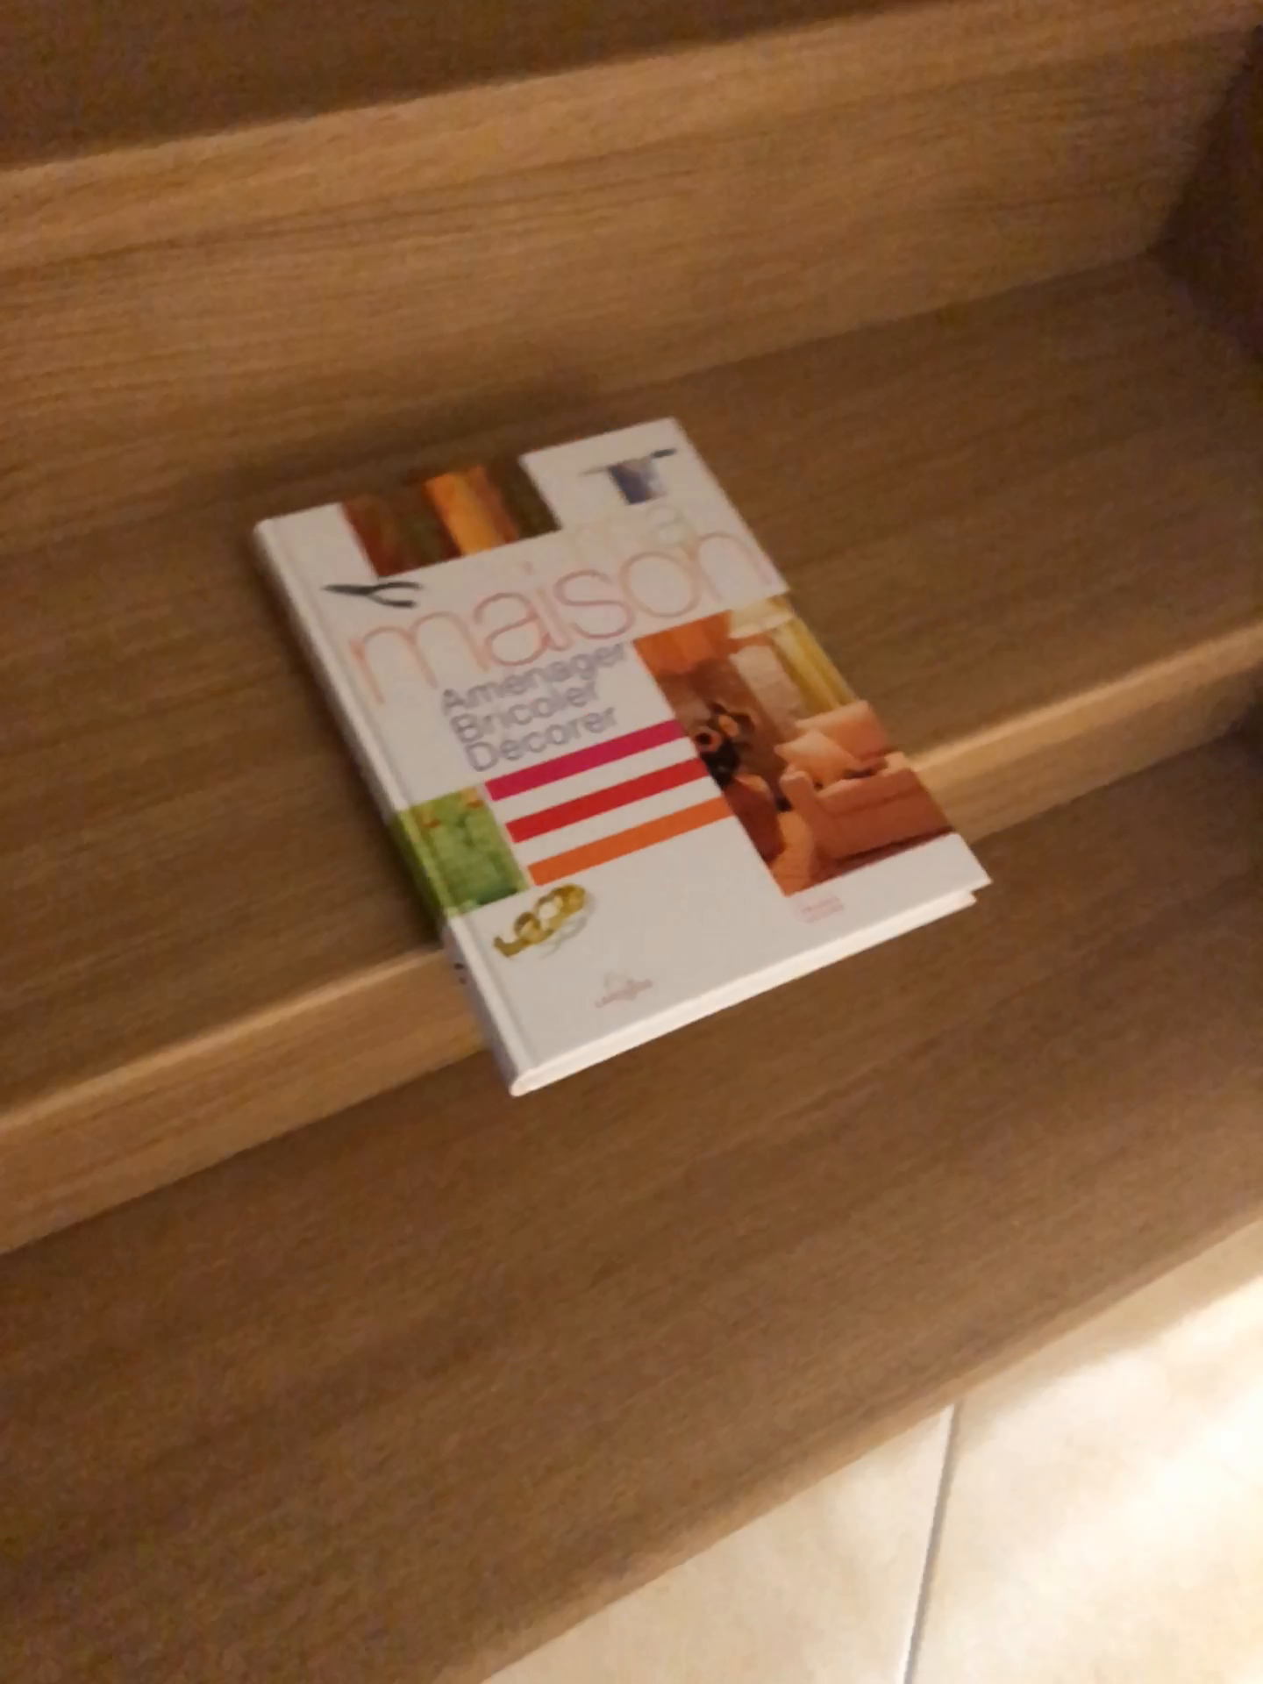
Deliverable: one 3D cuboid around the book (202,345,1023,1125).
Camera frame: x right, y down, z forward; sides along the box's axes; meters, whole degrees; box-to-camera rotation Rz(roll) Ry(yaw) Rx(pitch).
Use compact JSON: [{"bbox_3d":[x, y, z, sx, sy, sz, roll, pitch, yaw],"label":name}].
[{"bbox_3d":[-0.018,-0.068,0.568,0.211,0.030,0.310,-21,64,-19],"label":"book"}]
